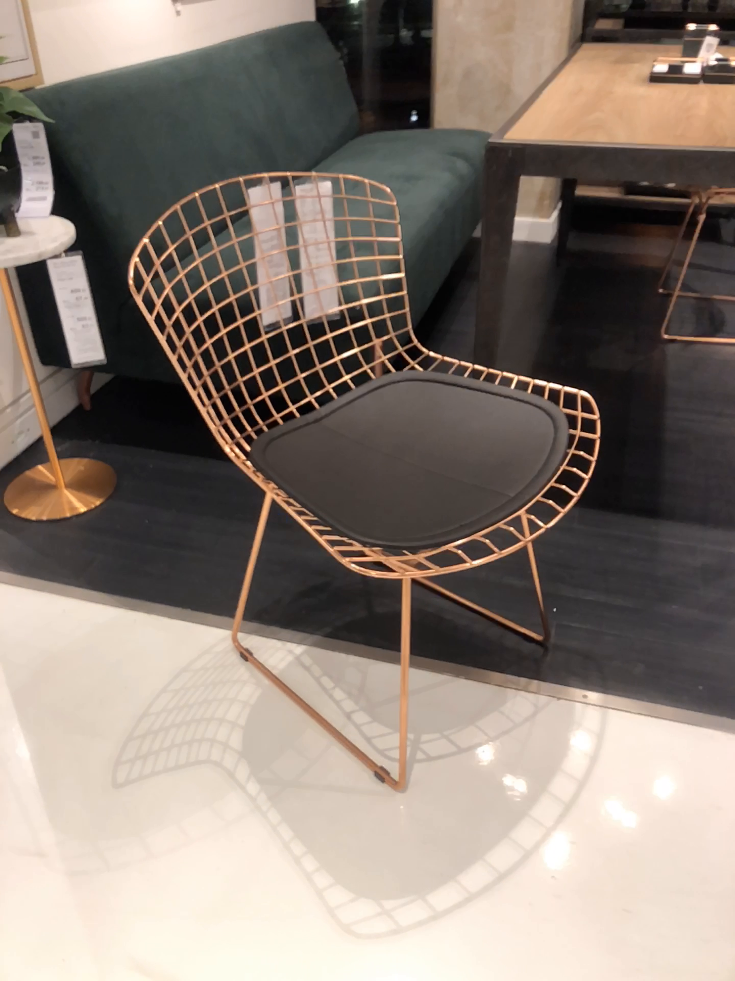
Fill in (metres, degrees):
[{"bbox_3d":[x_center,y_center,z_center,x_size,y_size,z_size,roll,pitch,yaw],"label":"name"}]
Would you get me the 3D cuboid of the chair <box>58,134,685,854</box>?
[{"bbox_3d":[0.017,-0.042,1.173,0.542,0.744,0.522,25,42,33],"label":"chair"}]
